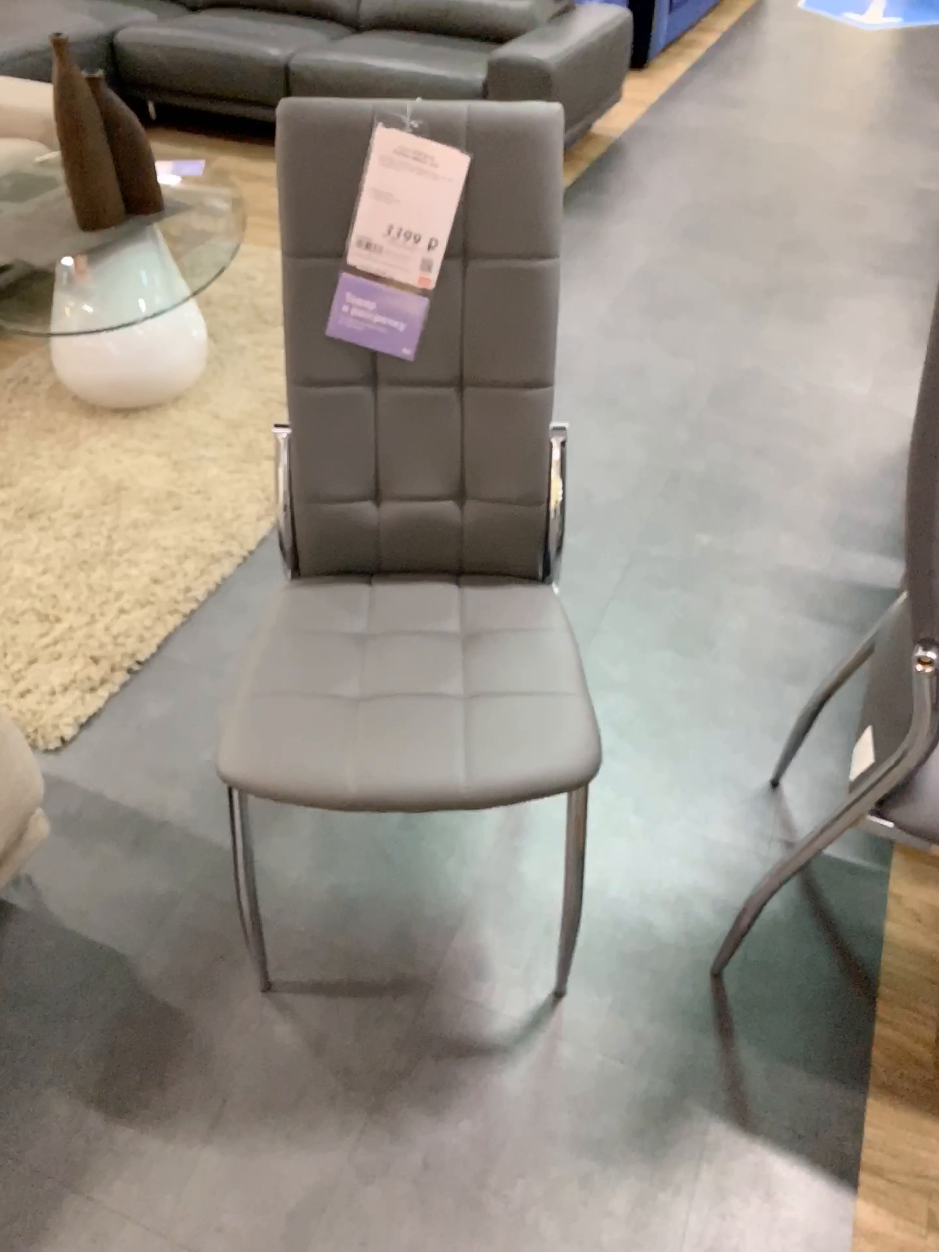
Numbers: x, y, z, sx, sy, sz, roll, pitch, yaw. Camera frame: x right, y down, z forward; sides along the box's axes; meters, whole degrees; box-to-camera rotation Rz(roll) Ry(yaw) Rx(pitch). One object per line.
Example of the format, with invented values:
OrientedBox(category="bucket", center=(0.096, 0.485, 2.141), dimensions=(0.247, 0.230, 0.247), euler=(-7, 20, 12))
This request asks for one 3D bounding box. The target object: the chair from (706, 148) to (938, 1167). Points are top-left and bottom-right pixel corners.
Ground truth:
OrientedBox(category="chair", center=(0.699, 0.093, 1.136), dimensions=(0.550, 1.025, 0.452), euler=(19, 45, 18))

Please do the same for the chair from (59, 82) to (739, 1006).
OrientedBox(category="chair", center=(-0.054, -0.032, 1.213), dimensions=(0.470, 1.025, 0.533), euler=(1, 42, 0))
